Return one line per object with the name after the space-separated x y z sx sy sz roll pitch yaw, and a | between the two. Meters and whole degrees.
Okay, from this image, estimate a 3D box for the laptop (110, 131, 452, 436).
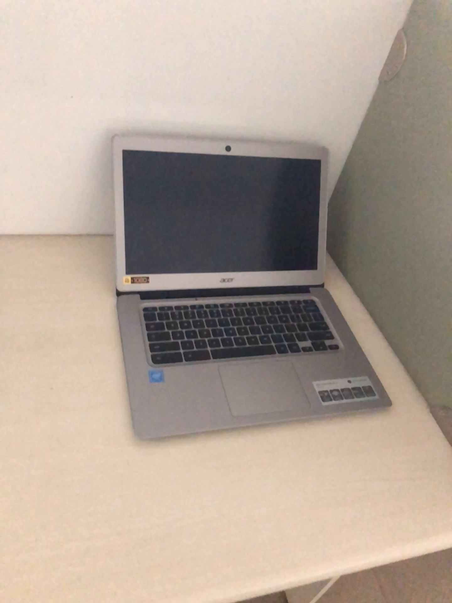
0.031 -0.047 0.662 0.322 0.168 0.367 -2 45 -19 | laptop
